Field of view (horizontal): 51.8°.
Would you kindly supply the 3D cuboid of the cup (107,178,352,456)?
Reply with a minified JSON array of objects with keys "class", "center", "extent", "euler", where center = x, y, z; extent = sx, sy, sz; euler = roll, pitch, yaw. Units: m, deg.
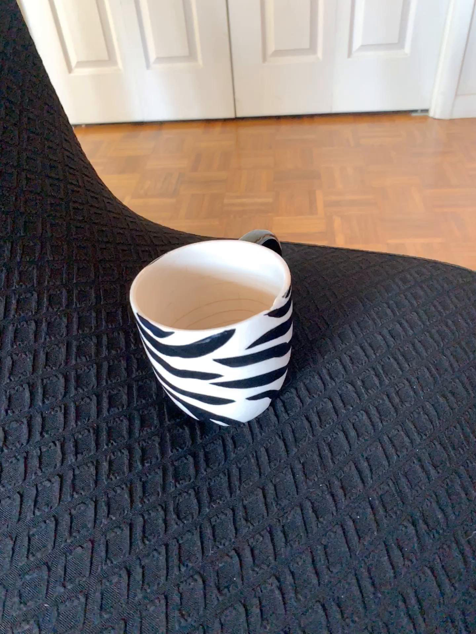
[{"class":"cup","center":[0.005,-0.008,0.308],"extent":[0.080,0.090,0.140],"euler":[18,47,24]}]
